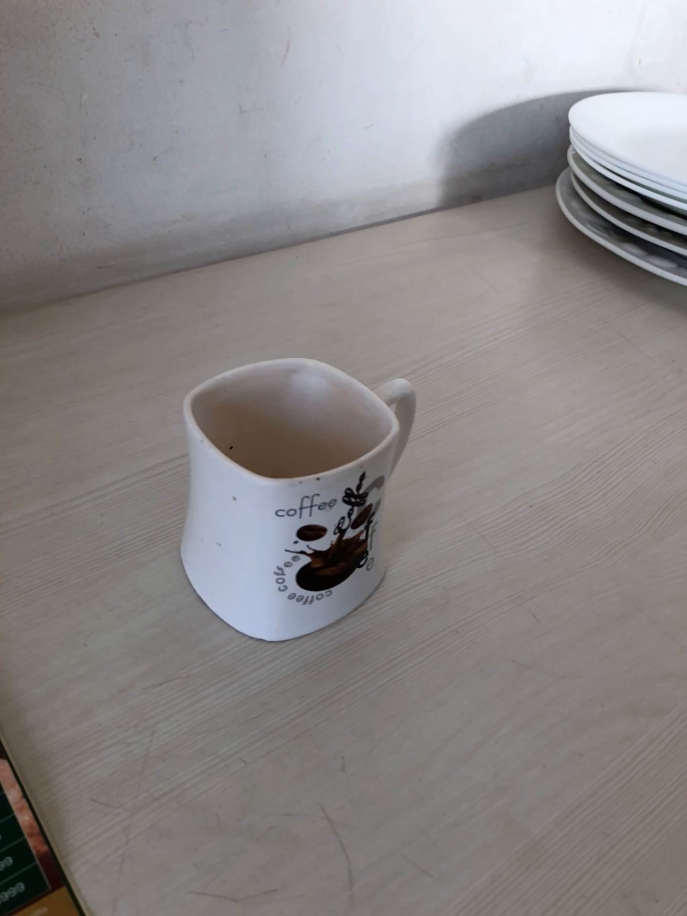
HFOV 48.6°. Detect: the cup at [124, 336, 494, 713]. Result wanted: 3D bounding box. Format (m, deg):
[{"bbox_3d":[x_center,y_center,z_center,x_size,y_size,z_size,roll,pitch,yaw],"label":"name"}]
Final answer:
[{"bbox_3d":[-0.012,0.017,0.257,0.090,0.070,0.070,-25,48,-33],"label":"cup"}]
